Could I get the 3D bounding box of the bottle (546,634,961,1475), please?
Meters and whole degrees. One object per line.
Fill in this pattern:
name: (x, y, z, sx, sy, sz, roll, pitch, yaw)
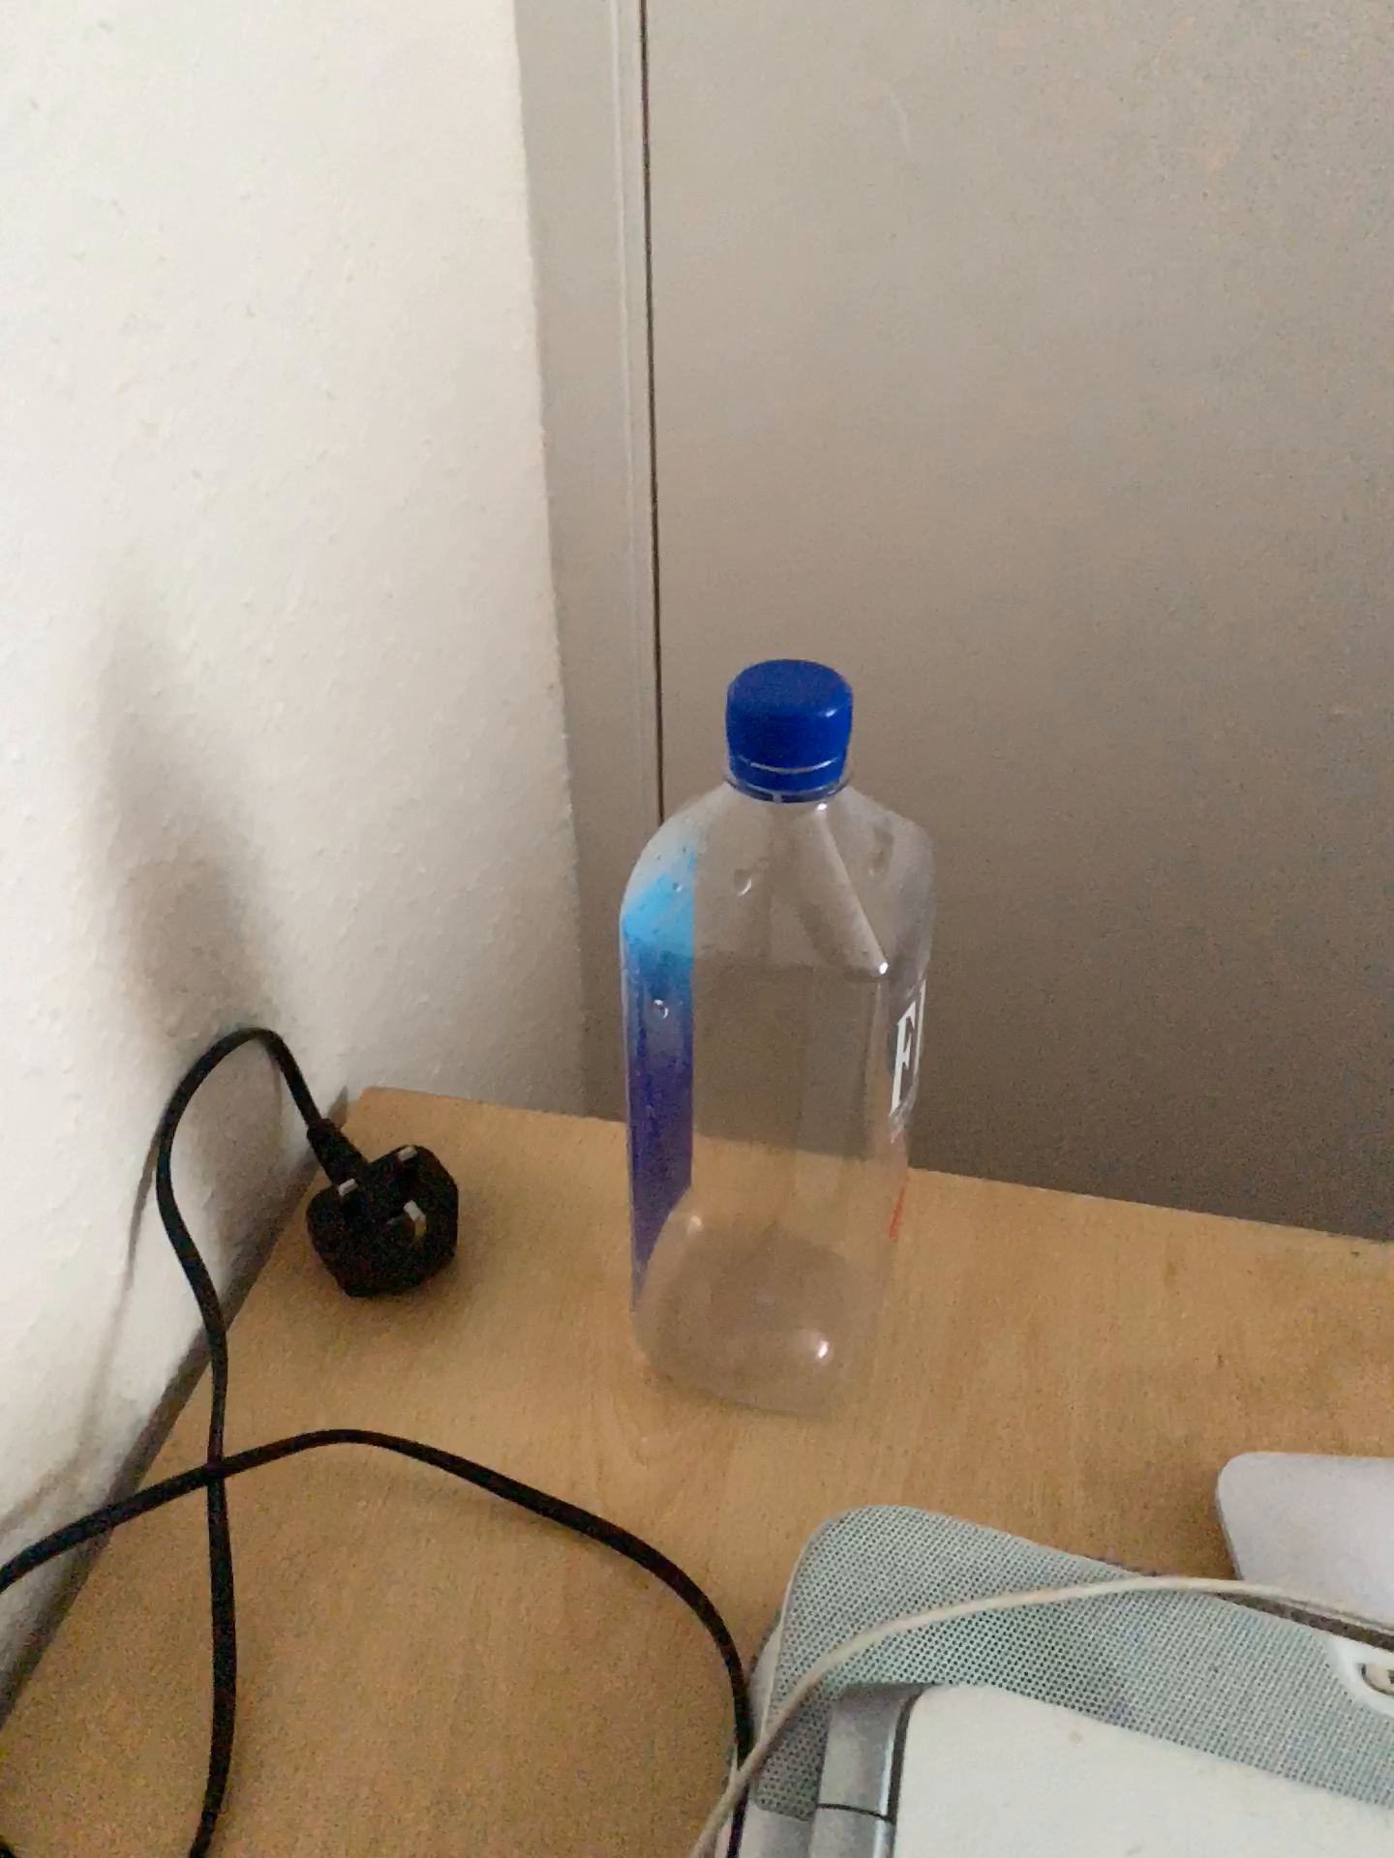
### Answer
bottle: (0.018, 0.039, 0.390, 0.080, 0.208, 0.091, 7, 35, 11)
